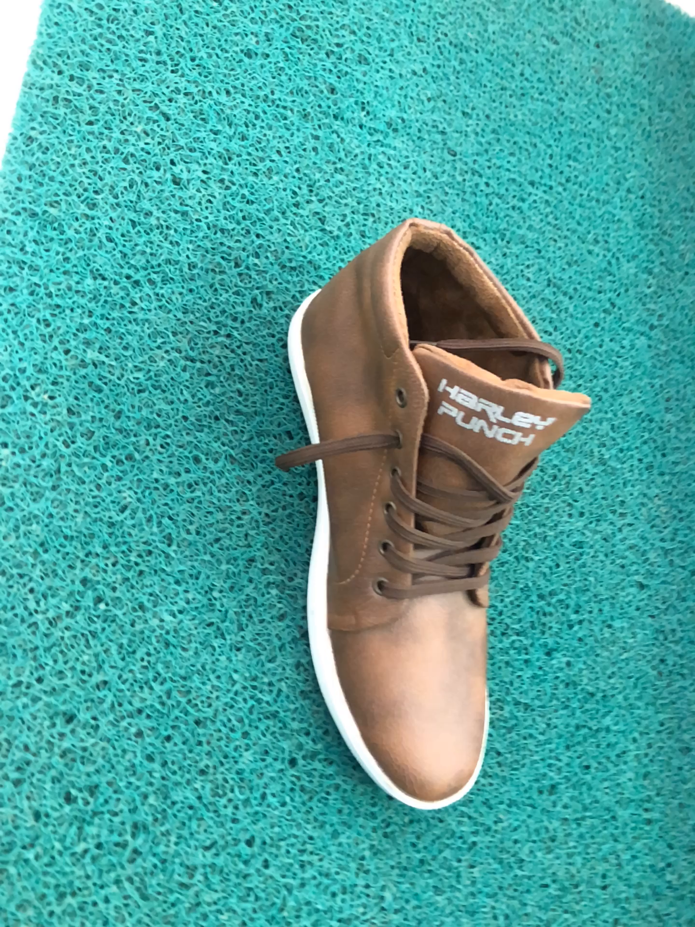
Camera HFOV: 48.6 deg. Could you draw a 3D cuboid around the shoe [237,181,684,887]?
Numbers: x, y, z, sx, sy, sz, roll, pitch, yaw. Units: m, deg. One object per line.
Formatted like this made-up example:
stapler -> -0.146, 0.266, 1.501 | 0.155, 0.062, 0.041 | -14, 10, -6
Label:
shoe -> 0.034, 0.034, 0.394 | 0.090, 0.189, 0.270 | -4, 79, -27
